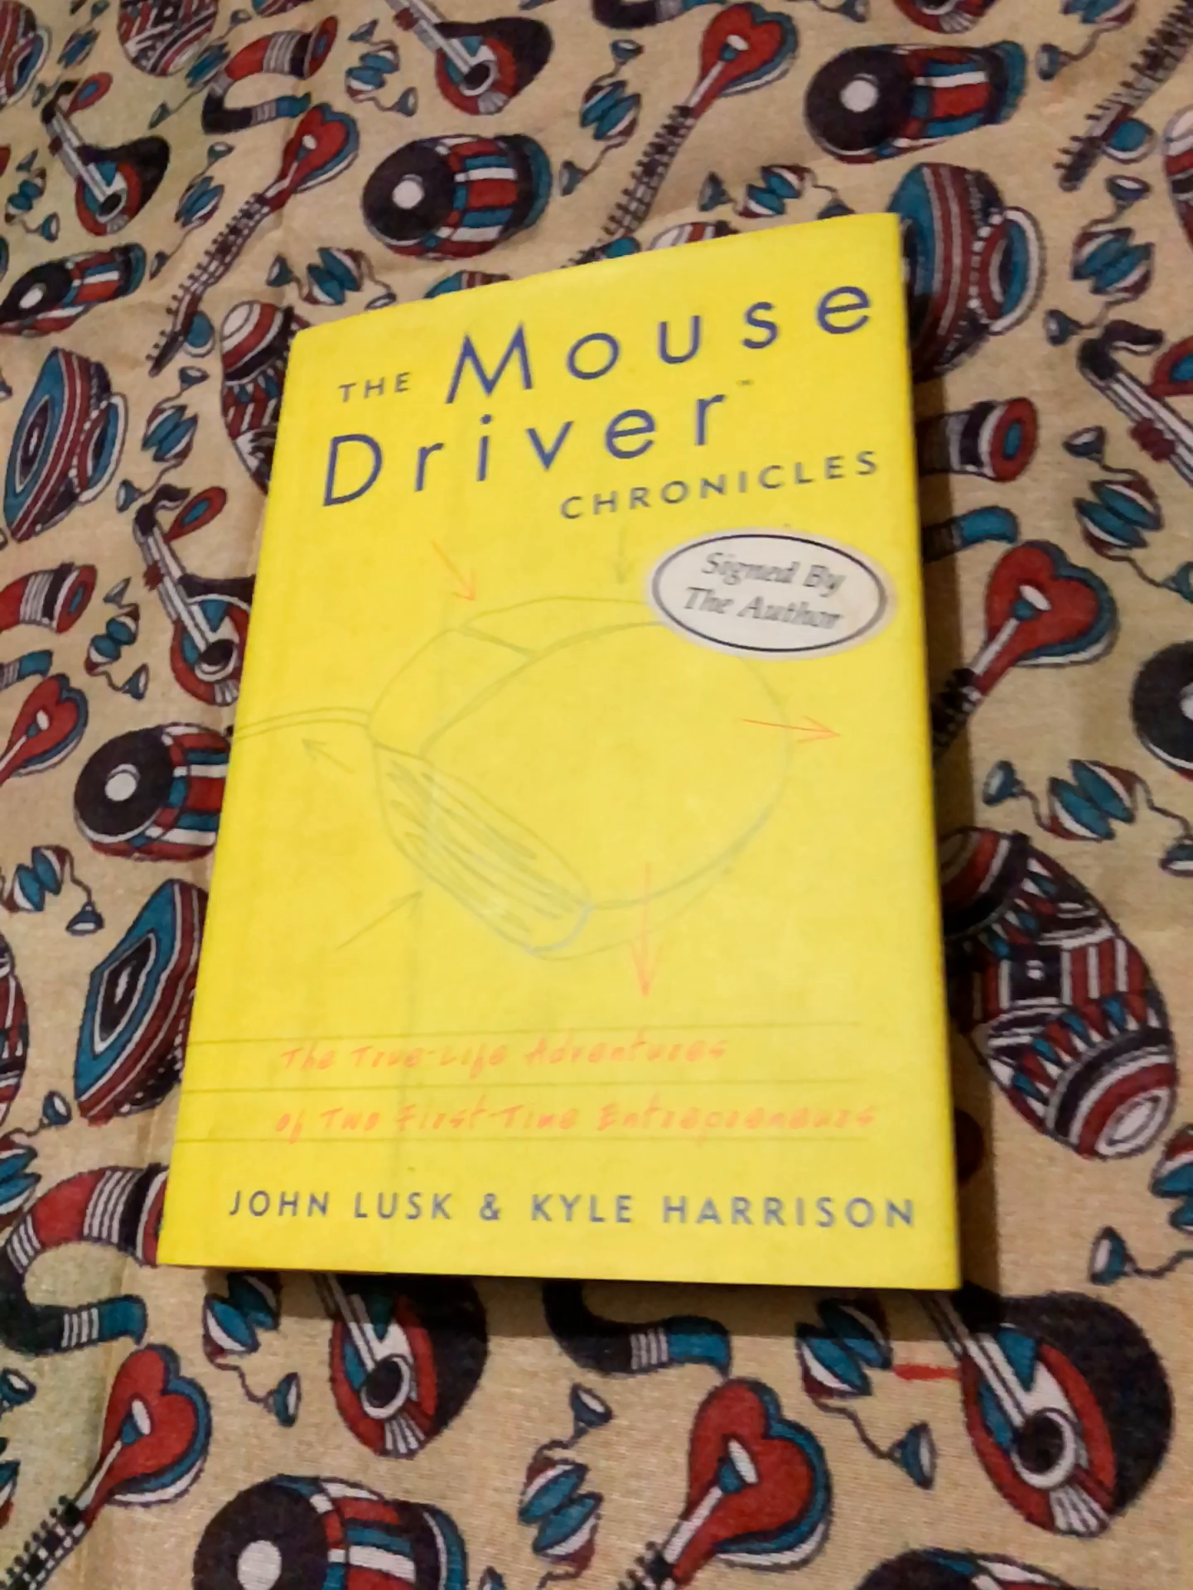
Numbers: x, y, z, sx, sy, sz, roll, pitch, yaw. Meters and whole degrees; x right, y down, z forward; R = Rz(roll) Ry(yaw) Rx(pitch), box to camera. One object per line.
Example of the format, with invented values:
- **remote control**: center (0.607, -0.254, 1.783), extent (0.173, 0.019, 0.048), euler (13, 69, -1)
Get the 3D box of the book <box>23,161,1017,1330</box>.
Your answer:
- **book**: center (-0.010, -0.015, 0.267), extent (0.160, 0.040, 0.220), euler (-5, 64, 17)
